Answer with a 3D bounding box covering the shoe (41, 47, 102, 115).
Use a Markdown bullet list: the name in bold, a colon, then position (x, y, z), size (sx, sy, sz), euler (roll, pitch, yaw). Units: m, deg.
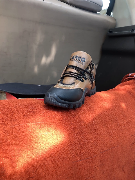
- **shoe**: position (0.032, -0.050, 0.488), size (0.110, 0.149, 0.271), euler (10, 15, 17)
